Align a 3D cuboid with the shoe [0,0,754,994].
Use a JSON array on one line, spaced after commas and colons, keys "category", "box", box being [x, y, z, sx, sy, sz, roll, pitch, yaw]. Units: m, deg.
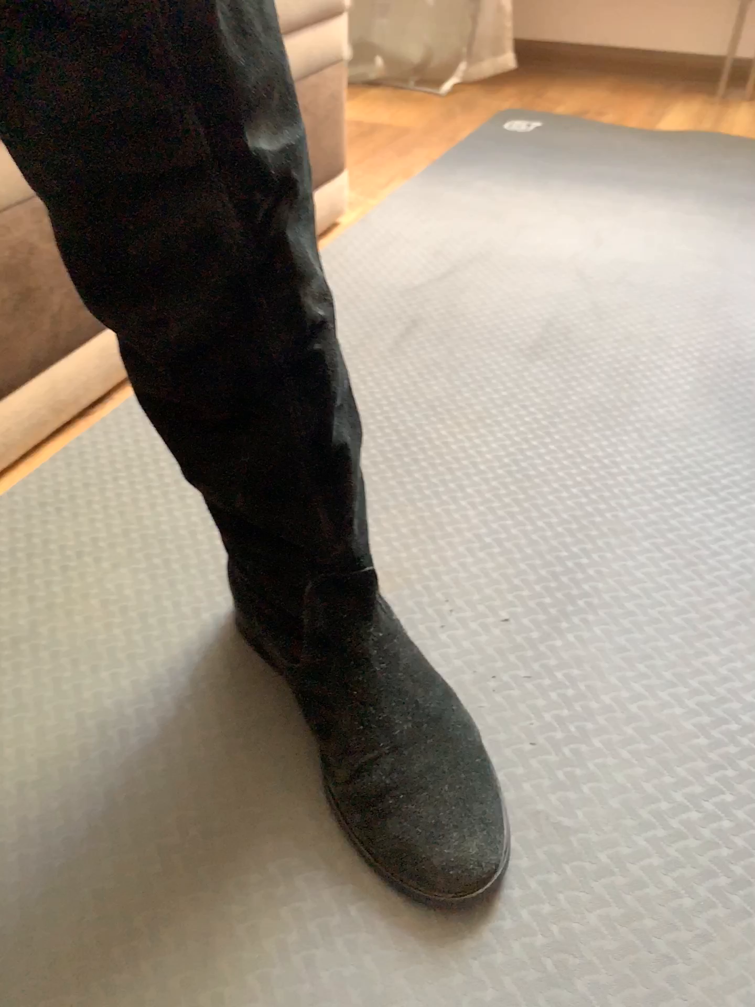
[{"category": "shoe", "box": [-0.047, -0.048, 0.340, 0.130, 0.378, 0.321, -25, 43, -22]}]
